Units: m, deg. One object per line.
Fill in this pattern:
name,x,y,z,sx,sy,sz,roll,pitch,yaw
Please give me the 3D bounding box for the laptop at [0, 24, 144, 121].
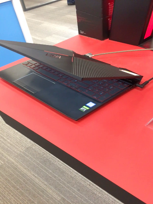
laptop,-0.051,-0.114,0.599,0.373,0.107,0.222,31,56,33
